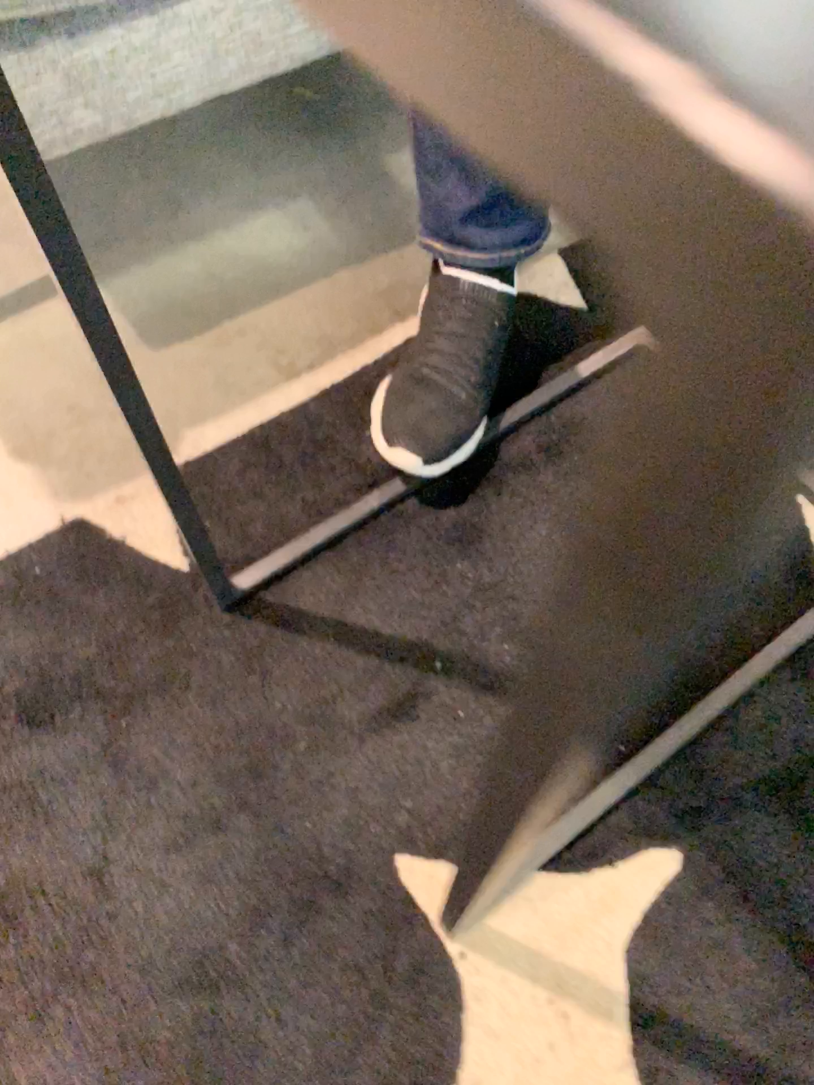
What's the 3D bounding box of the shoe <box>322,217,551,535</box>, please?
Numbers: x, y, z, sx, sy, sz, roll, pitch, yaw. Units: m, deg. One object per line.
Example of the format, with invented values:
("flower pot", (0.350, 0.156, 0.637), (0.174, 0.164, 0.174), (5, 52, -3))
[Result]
("shoe", (0.035, -0.167, 0.802), (0.116, 0.074, 0.304), (18, 63, 9))
